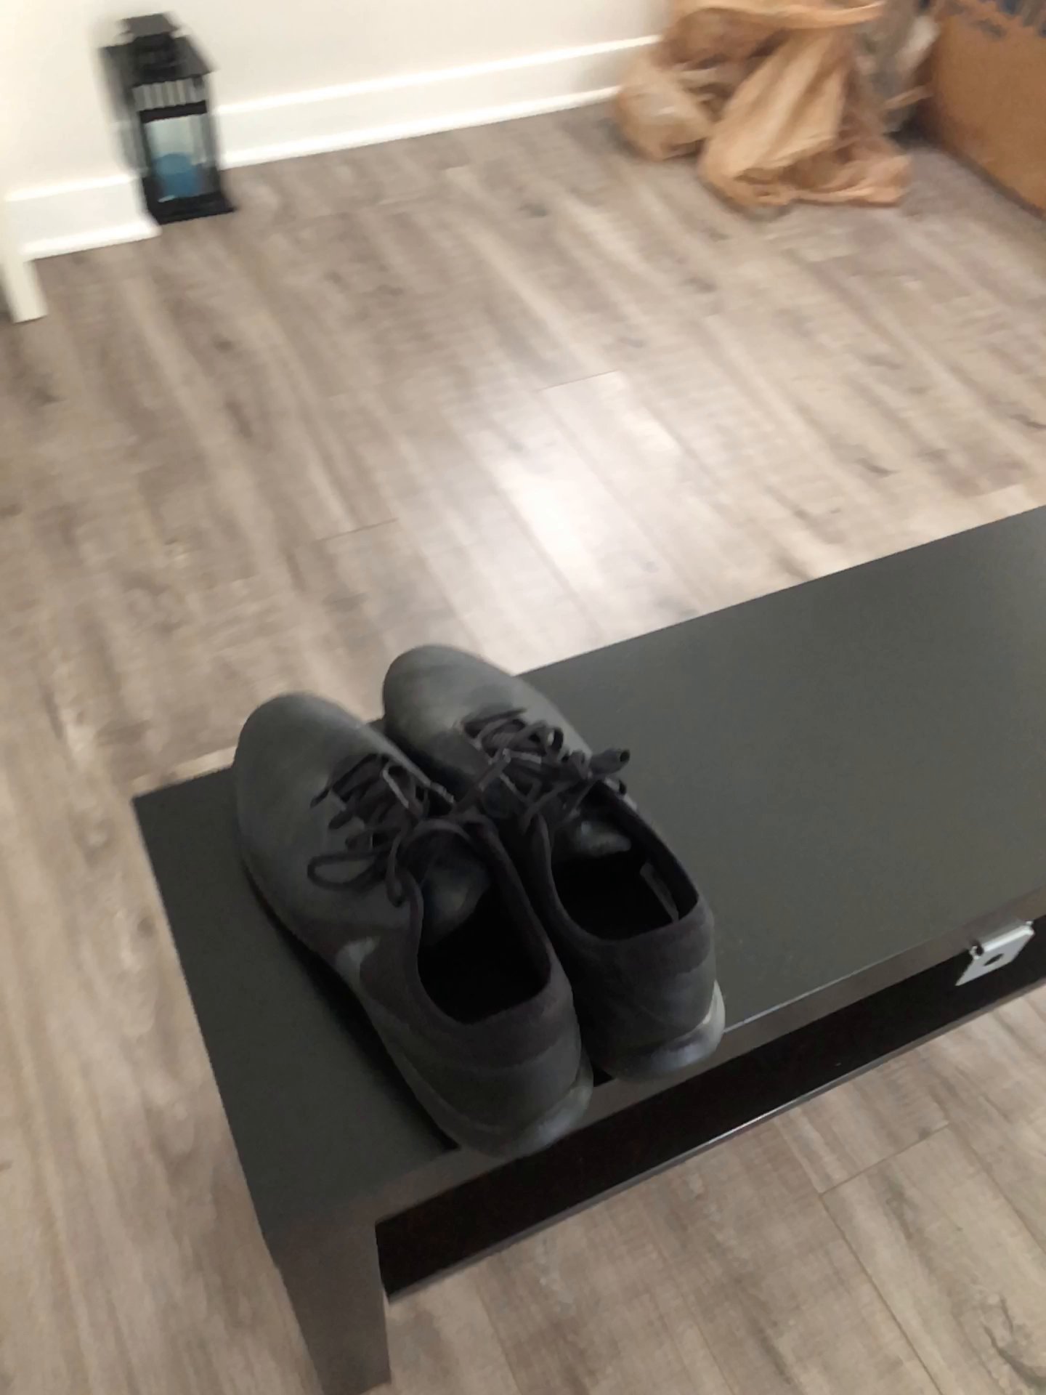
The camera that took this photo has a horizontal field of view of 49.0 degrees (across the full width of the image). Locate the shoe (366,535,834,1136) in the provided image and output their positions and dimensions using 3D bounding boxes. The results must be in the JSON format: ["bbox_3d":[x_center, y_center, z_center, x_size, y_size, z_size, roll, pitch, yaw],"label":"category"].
[{"bbox_3d":[0.022,0.059,0.612,0.100,0.110,0.294,-20,54,-19],"label":"shoe"}]

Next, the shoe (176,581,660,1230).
[{"bbox_3d":[-0.065,0.089,0.575,0.100,0.110,0.294,-23,55,-21],"label":"shoe"}]
